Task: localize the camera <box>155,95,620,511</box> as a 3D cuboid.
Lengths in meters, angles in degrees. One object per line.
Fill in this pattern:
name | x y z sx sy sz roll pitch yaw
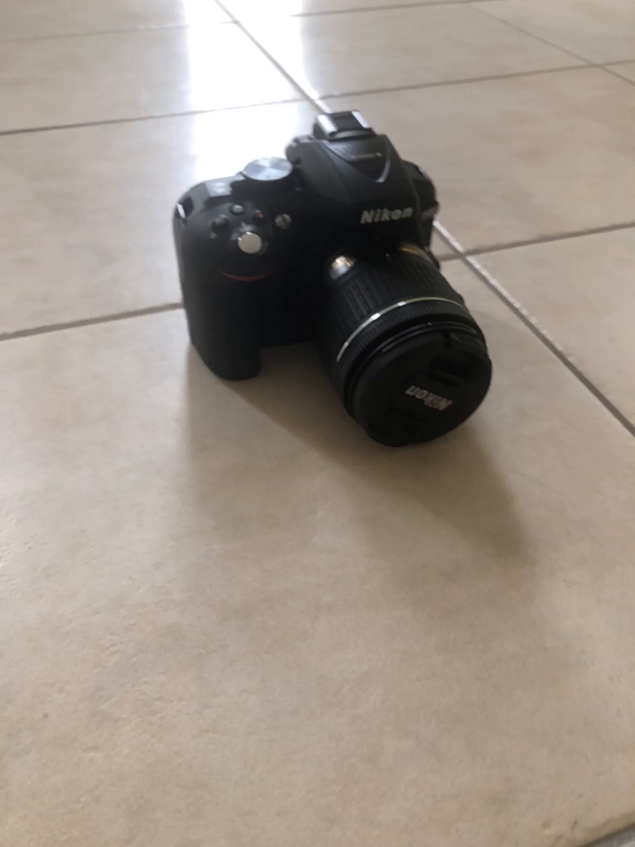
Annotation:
camera | 0.015 -0.066 0.317 0.140 0.089 0.161 -12 46 -12
